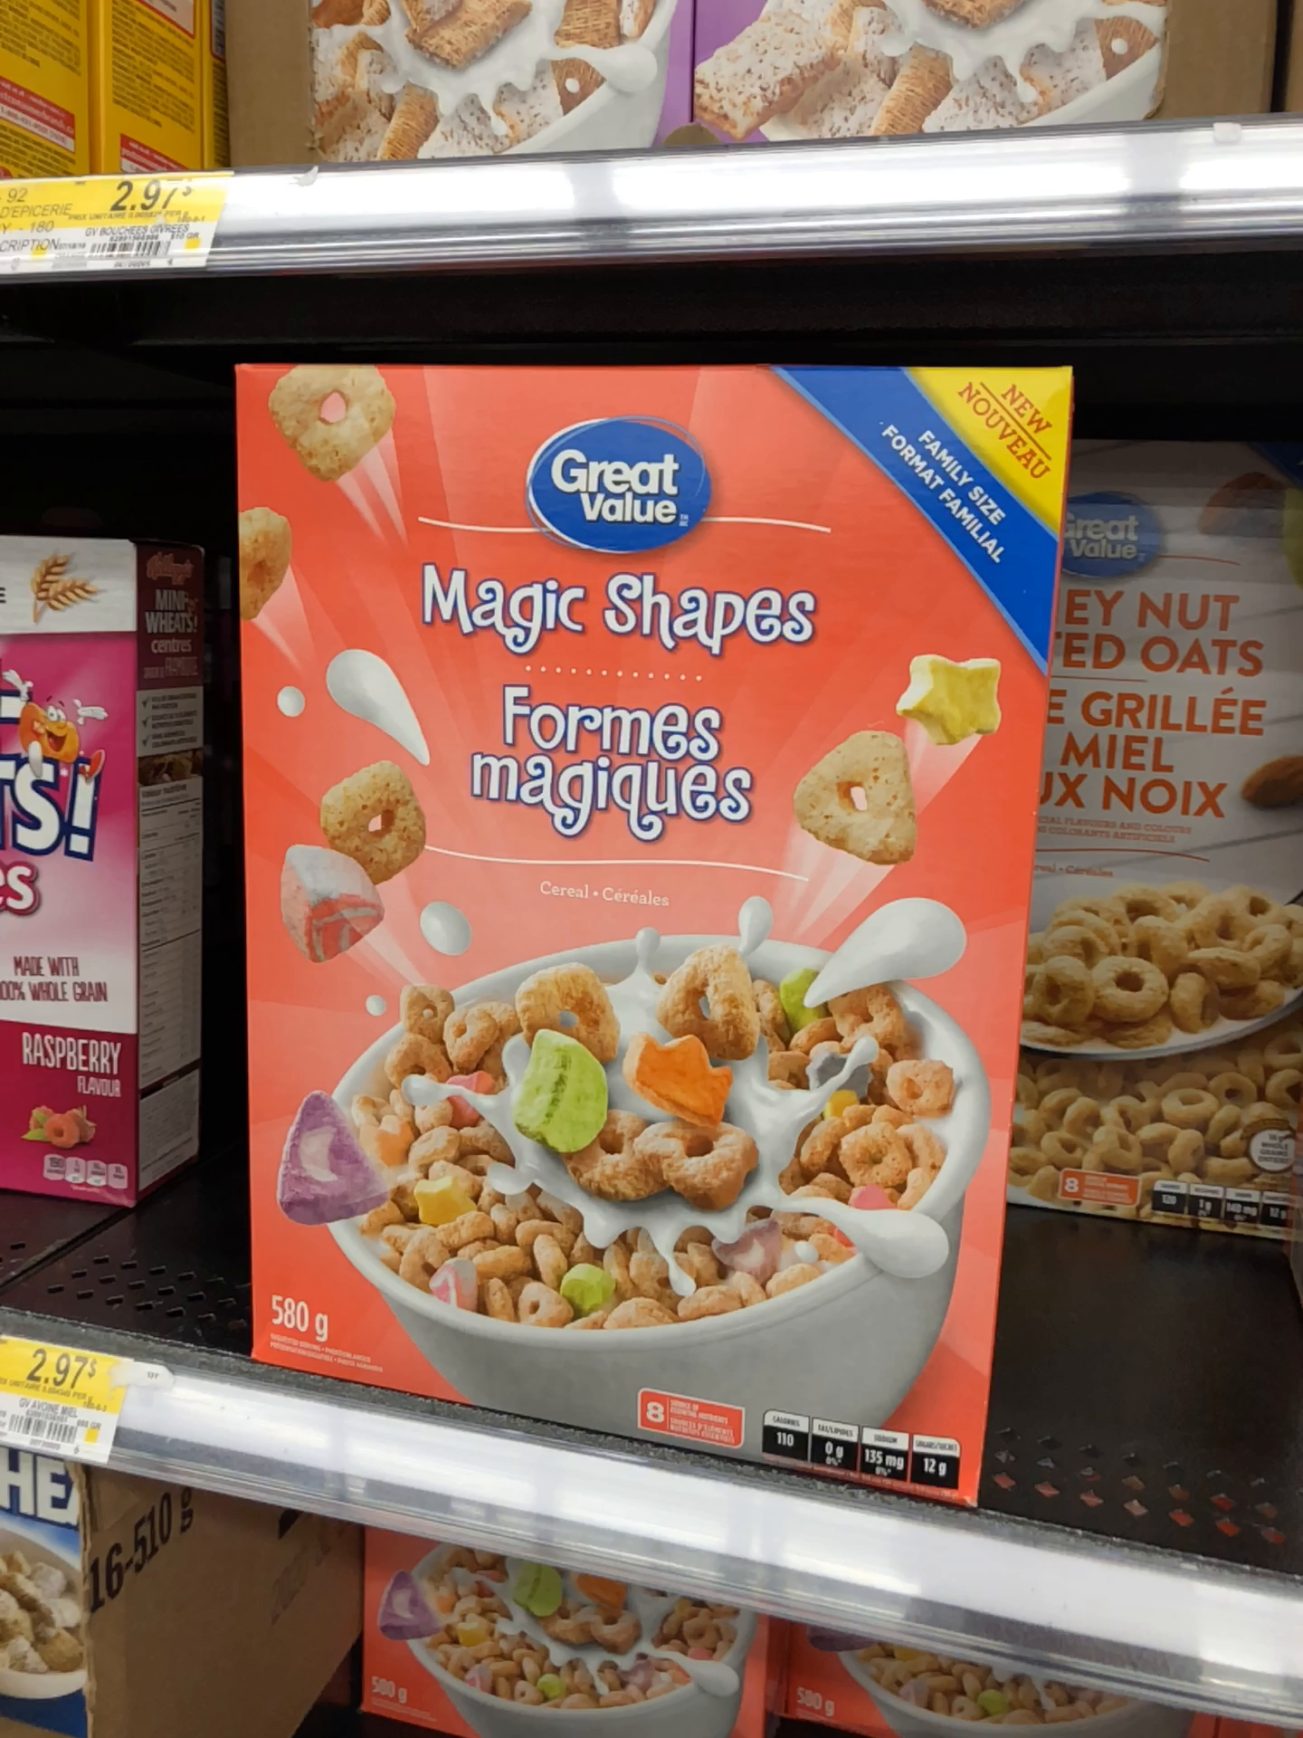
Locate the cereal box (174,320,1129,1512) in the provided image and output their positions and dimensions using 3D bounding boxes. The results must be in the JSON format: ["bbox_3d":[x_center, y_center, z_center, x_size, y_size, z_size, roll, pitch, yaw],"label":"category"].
[{"bbox_3d":[-0.006,0.007,0.441,0.260,0.319,0.070,5,12,16],"label":"cereal box"}]
